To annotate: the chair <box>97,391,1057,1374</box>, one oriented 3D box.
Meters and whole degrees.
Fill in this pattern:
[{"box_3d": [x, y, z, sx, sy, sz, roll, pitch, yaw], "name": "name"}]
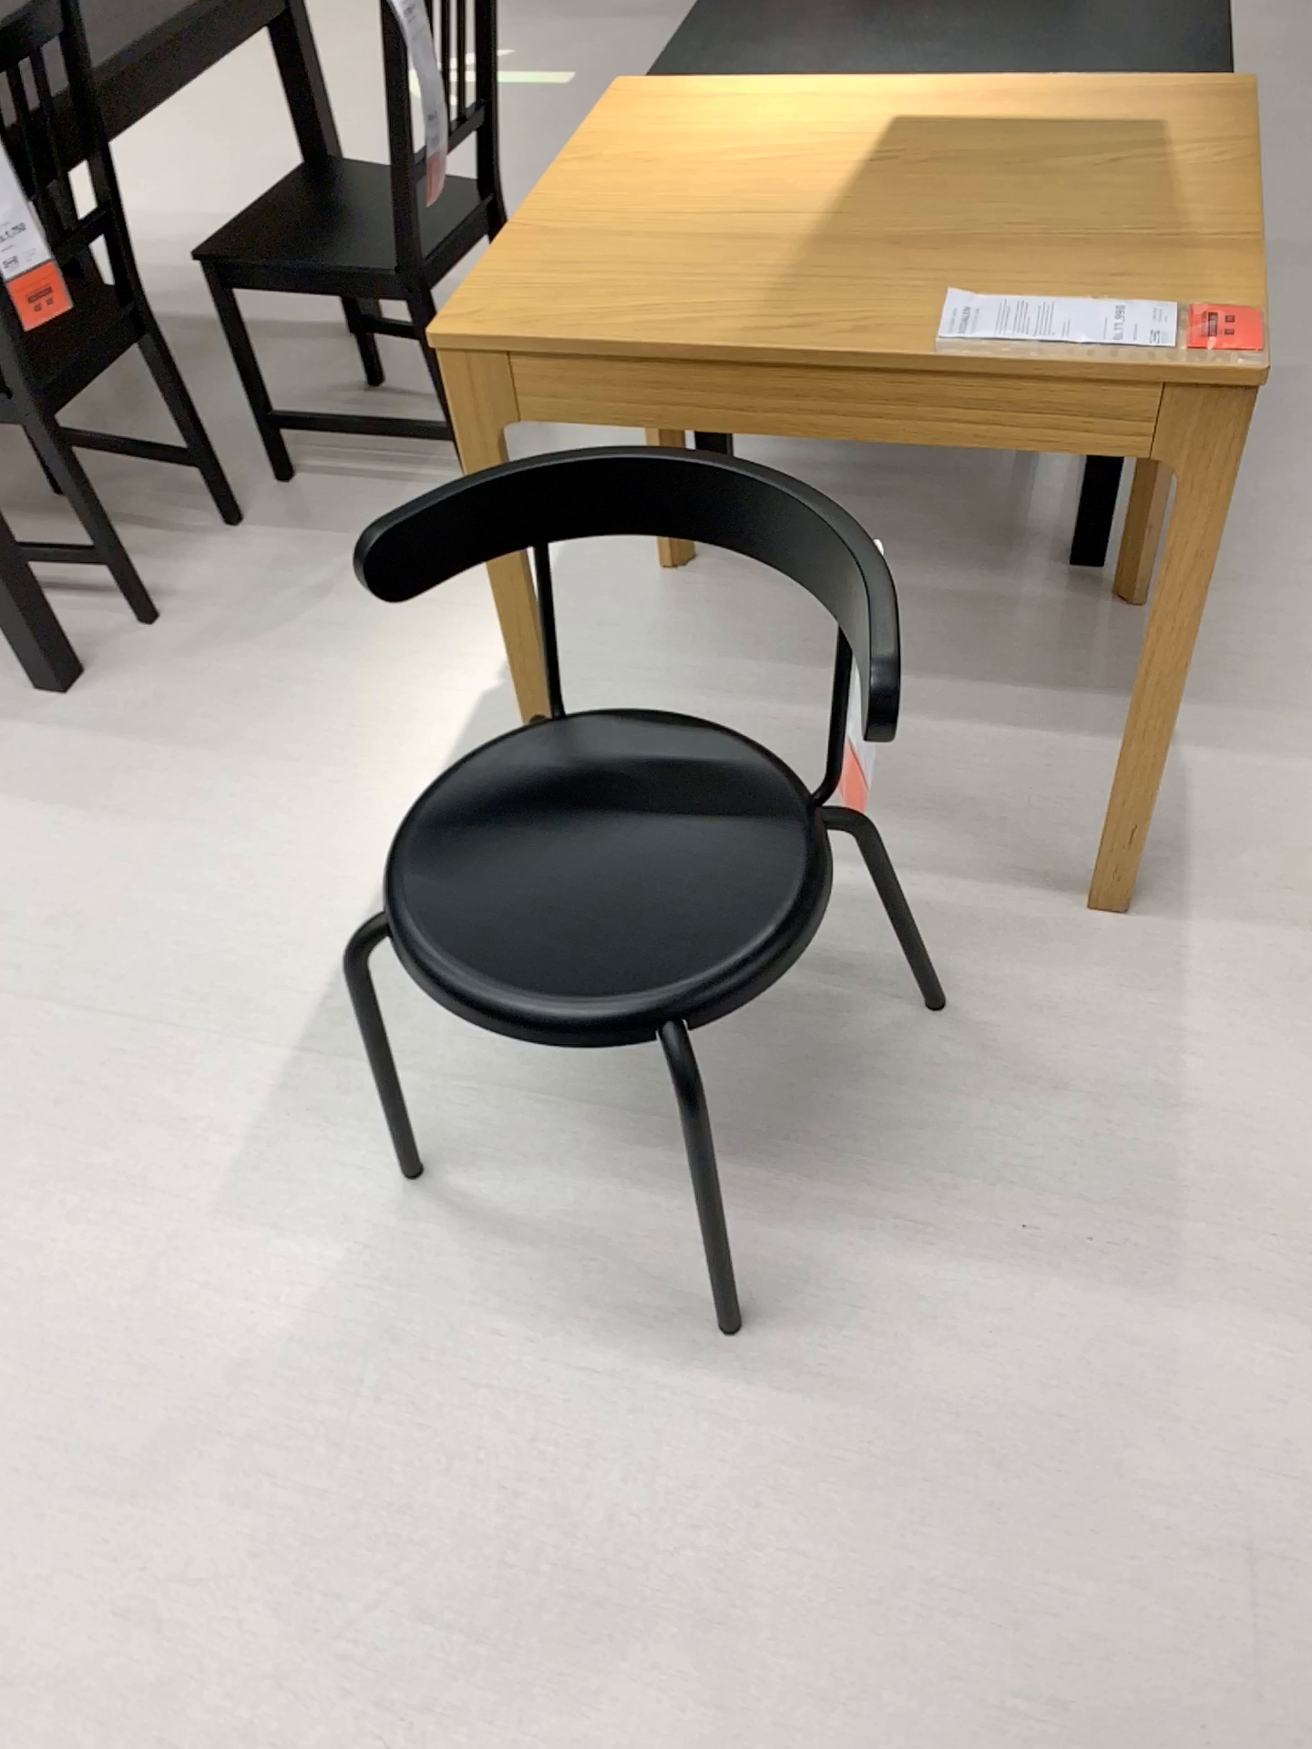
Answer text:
[{"box_3d": [-0.020, -0.013, 1.358, 0.591, 0.598, 0.611, 20, 54, 23], "name": "chair"}]
